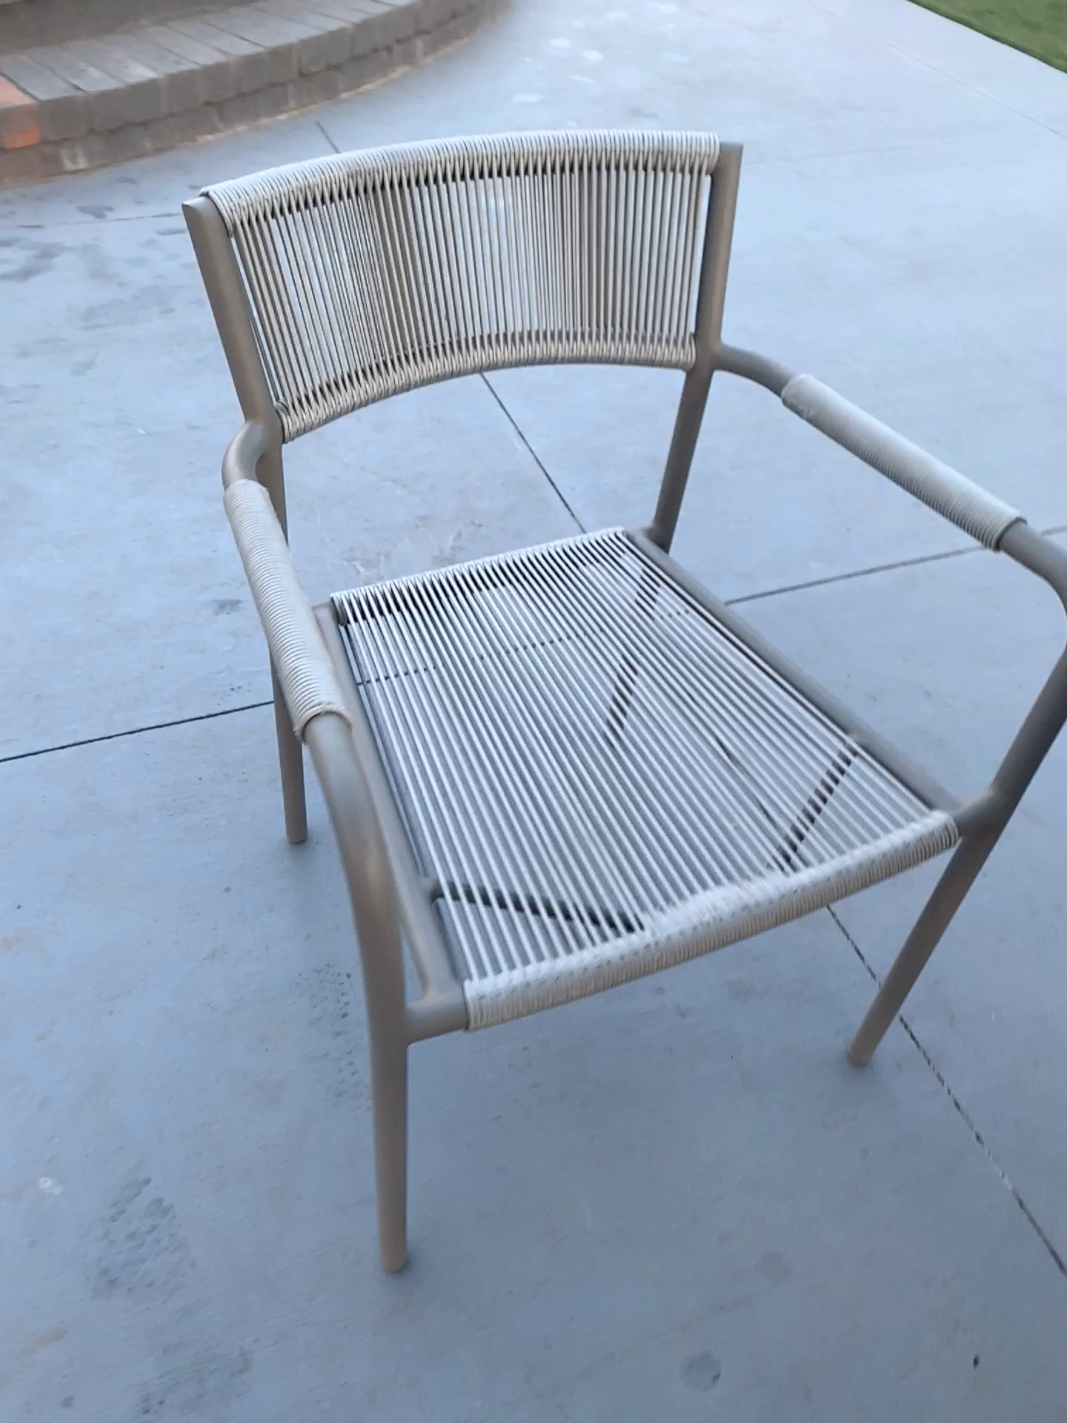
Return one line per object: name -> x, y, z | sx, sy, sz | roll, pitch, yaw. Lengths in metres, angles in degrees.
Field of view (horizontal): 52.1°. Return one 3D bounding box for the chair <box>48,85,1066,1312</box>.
chair -> 0.060, -0.025, 0.998 | 0.670, 0.767, 0.602 | -18, 50, -20
